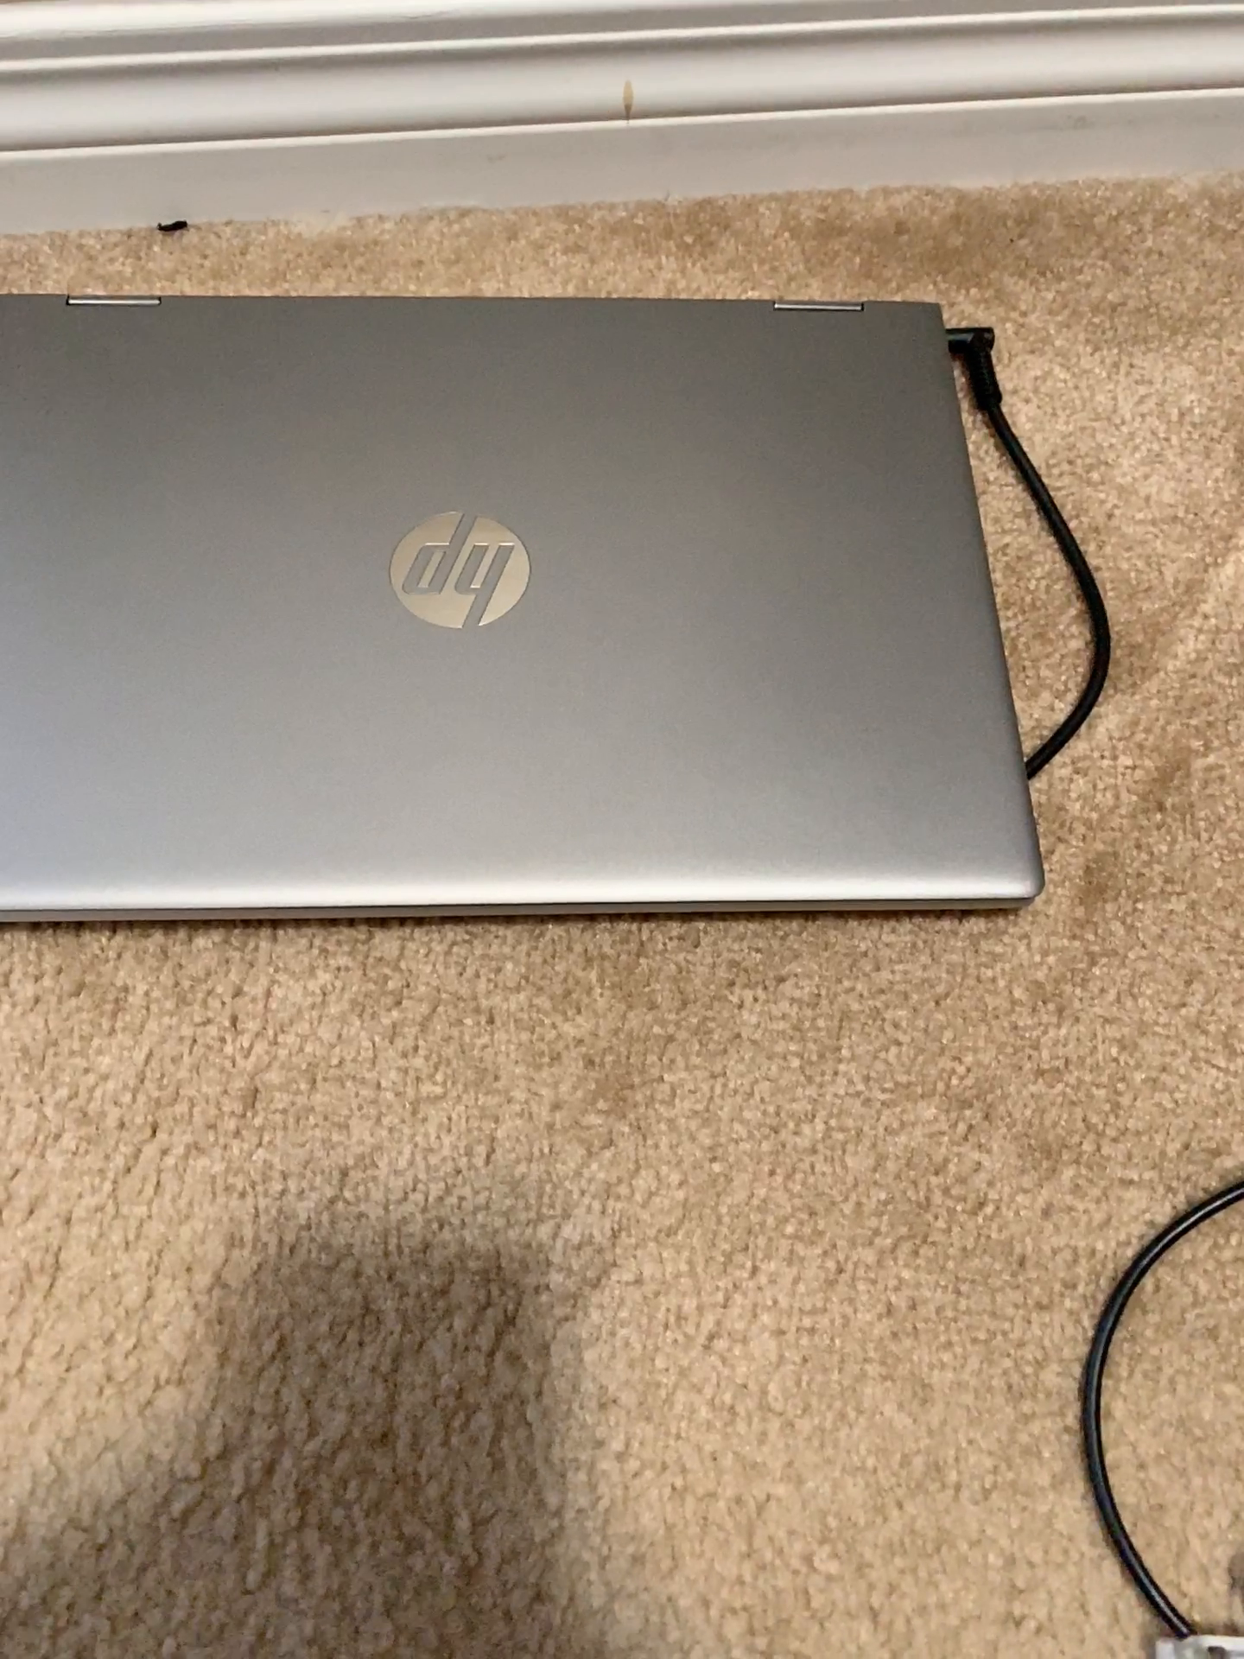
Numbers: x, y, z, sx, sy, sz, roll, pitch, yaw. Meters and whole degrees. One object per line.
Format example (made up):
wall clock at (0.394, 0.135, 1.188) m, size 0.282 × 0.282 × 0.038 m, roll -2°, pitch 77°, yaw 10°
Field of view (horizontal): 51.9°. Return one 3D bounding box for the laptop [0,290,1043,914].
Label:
laptop at (-0.047, -0.081, 0.385) m, size 0.319 × 0.001 × 0.222 m, roll 0°, pitch 64°, yaw -4°
